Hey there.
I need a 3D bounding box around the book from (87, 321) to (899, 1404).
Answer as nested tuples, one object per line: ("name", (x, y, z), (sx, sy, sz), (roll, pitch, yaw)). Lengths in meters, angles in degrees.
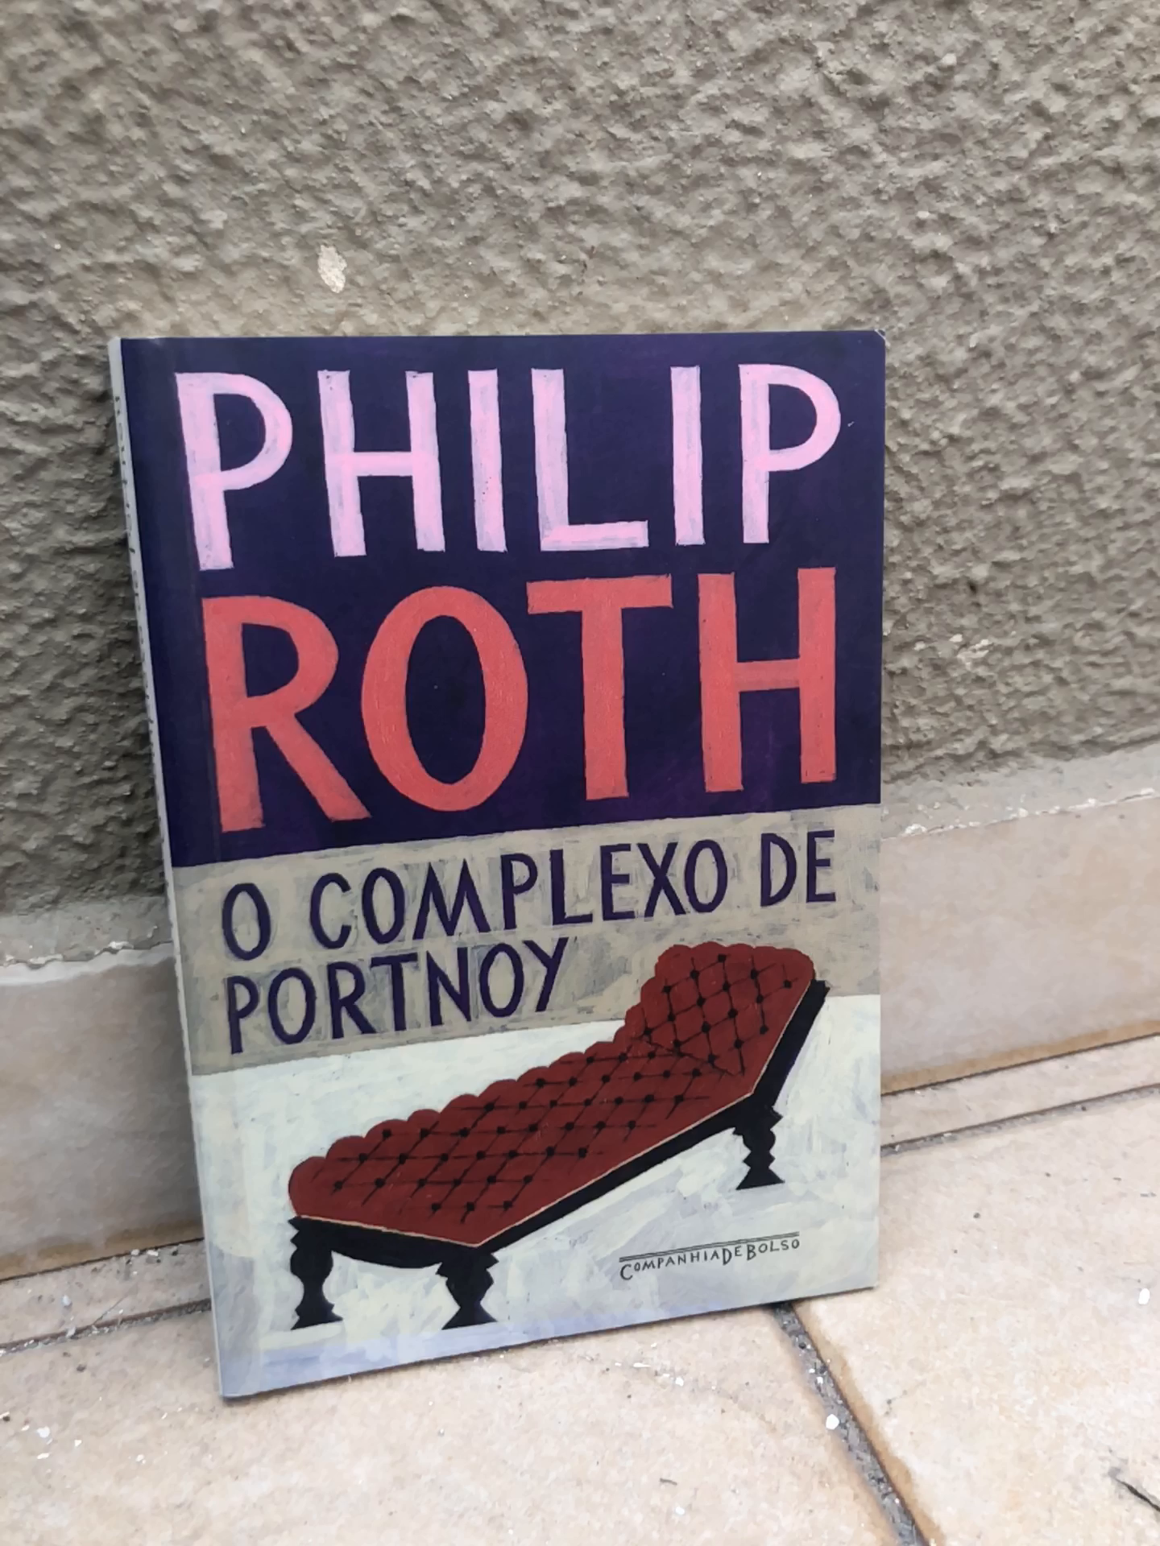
("book", (-0.009, 0.016, 0.230), (0.126, 0.179, 0.023), (-5, 14, -12))
